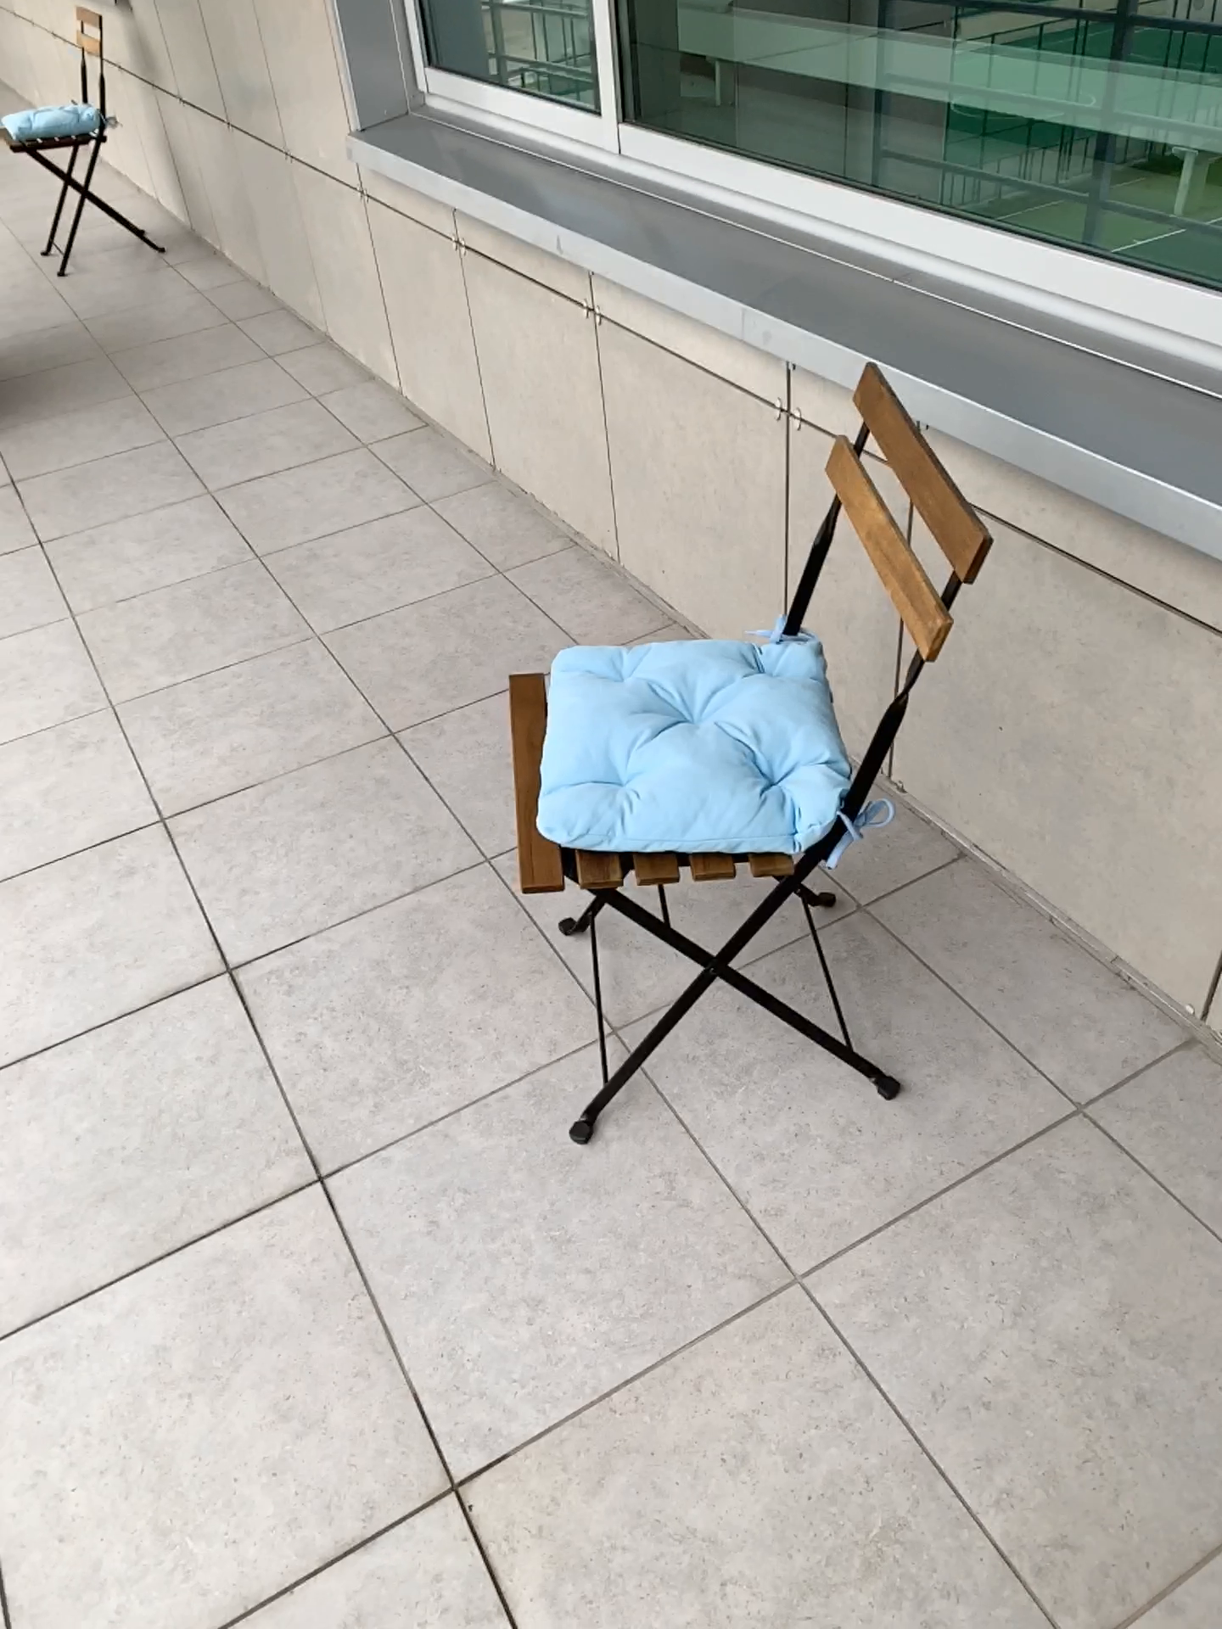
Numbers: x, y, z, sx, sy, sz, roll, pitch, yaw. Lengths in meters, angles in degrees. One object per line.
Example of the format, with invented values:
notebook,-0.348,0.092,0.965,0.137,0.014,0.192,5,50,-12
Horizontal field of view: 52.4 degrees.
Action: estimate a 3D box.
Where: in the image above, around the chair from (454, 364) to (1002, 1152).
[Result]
chair,0.113,-0.042,1.414,0.452,0.748,0.419,-6,39,0
